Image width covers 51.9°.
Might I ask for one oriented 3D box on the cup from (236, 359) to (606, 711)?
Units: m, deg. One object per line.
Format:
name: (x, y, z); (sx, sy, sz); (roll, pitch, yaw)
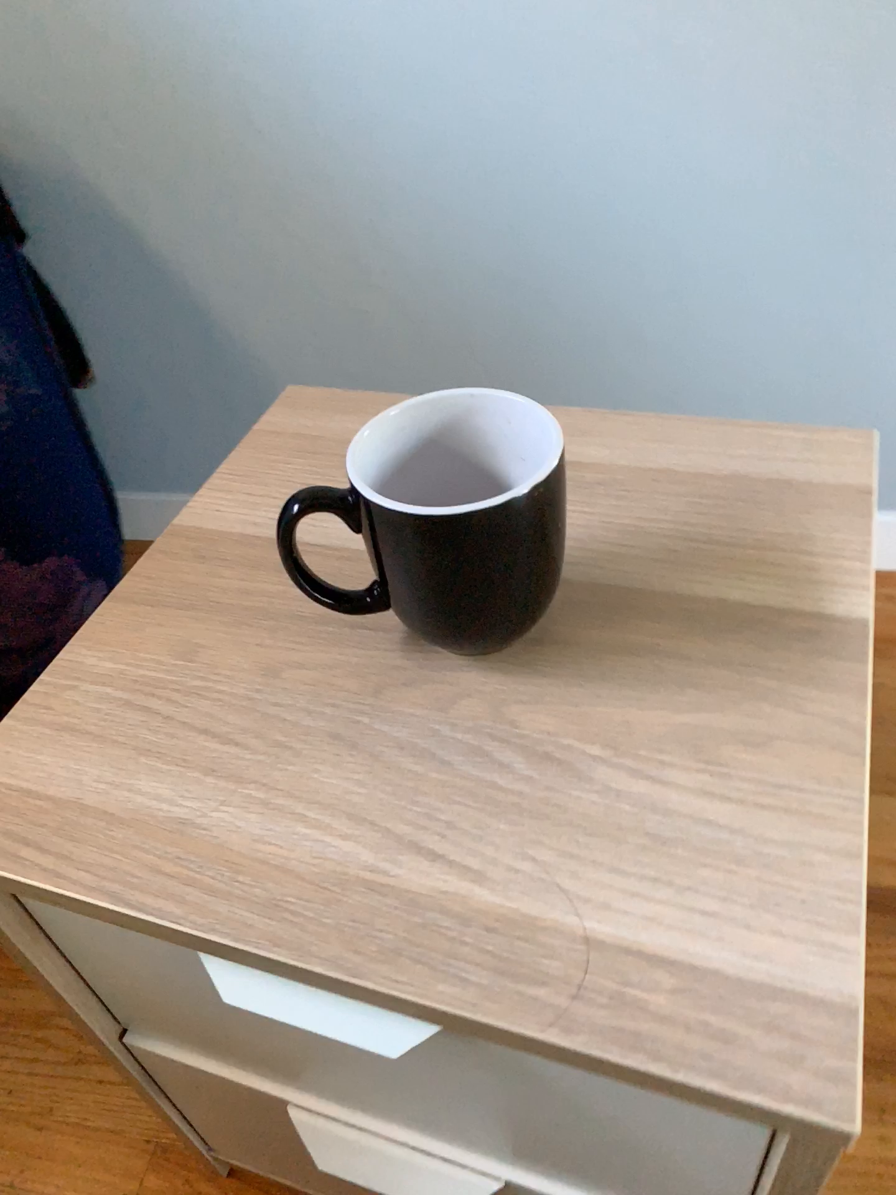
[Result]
cup: (-0.013, -0.032, 0.444); (0.150, 0.100, 0.101); (-13, 43, -4)

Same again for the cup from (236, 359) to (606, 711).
cup: (-0.013, -0.032, 0.444); (0.150, 0.100, 0.101); (-13, 43, -4)
